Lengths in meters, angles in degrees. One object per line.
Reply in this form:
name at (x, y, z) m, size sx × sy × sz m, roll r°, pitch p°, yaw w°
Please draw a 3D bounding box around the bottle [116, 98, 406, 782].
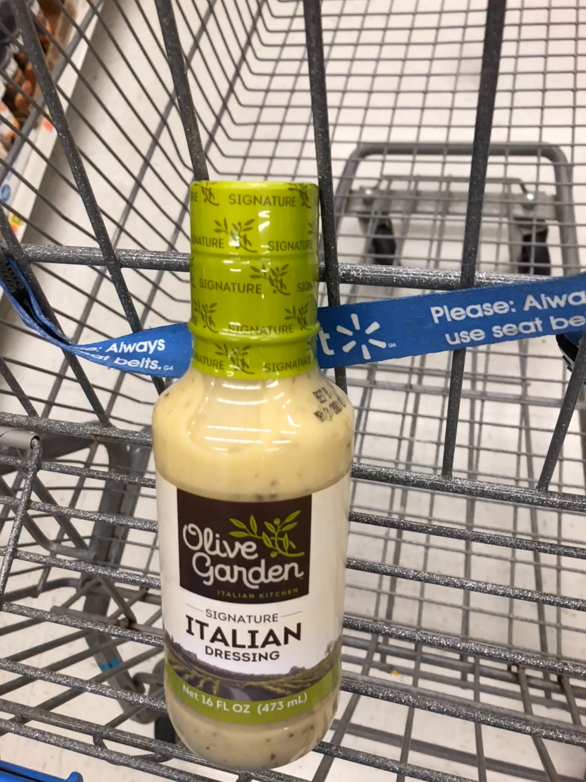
bottle at (-0.012, 0.018, 0.231) m, size 0.080 × 0.070 × 0.210 m, roll 2°, pitch 100°, yaw 0°
